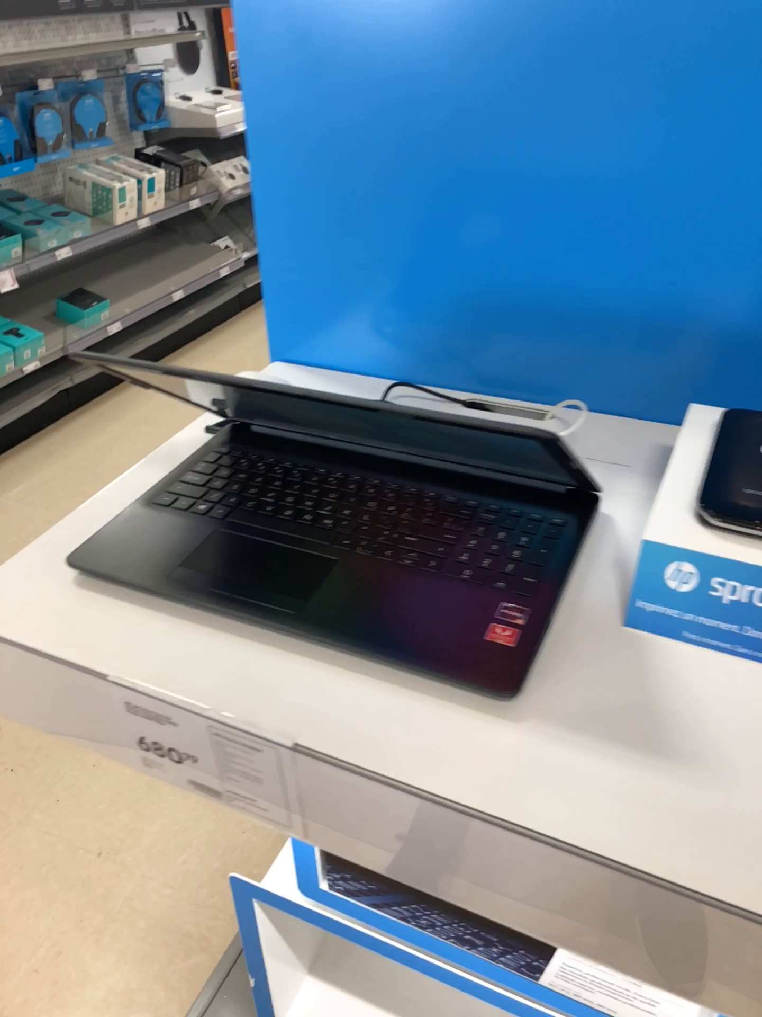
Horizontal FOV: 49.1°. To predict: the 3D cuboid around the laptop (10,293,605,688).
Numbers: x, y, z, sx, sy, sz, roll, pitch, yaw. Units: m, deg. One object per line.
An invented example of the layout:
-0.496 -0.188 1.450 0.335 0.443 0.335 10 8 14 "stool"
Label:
-0.038 -0.042 0.635 0.355 0.130 0.243 12 35 19 "laptop"
